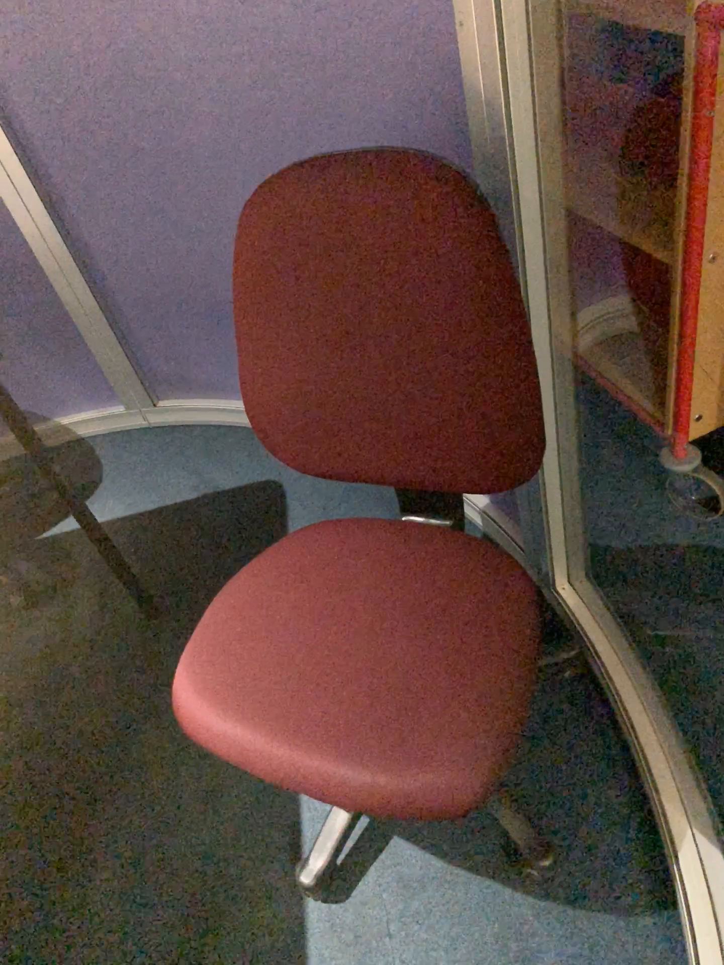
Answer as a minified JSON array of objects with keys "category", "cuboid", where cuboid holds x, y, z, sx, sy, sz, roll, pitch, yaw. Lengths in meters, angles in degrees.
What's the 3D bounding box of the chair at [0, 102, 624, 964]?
[{"category":"chair","cuboid":[0.026,0.048,1.075,0.581,0.772,0.856,5,46,24]}]
